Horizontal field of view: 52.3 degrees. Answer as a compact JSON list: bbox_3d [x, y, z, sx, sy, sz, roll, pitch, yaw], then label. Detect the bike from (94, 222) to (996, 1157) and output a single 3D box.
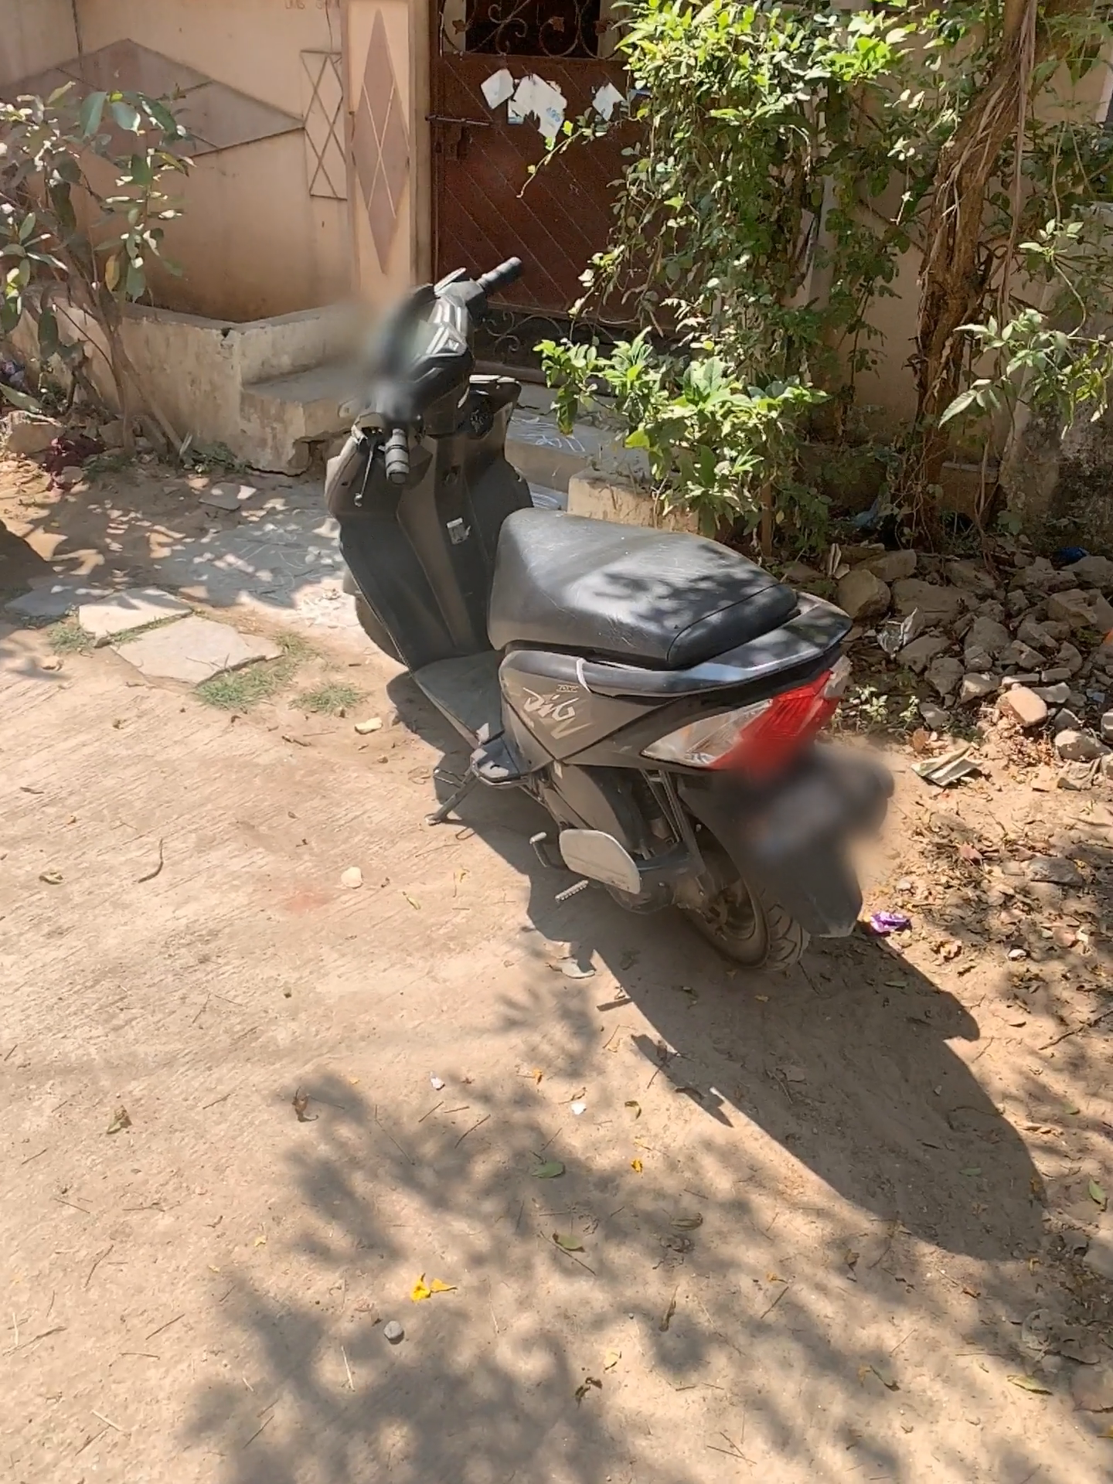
[{"bbox_3d":[-0.181,-0.244,2.181,0.625,1.174,1.532,-20,38,-34],"label":"bike"}]
